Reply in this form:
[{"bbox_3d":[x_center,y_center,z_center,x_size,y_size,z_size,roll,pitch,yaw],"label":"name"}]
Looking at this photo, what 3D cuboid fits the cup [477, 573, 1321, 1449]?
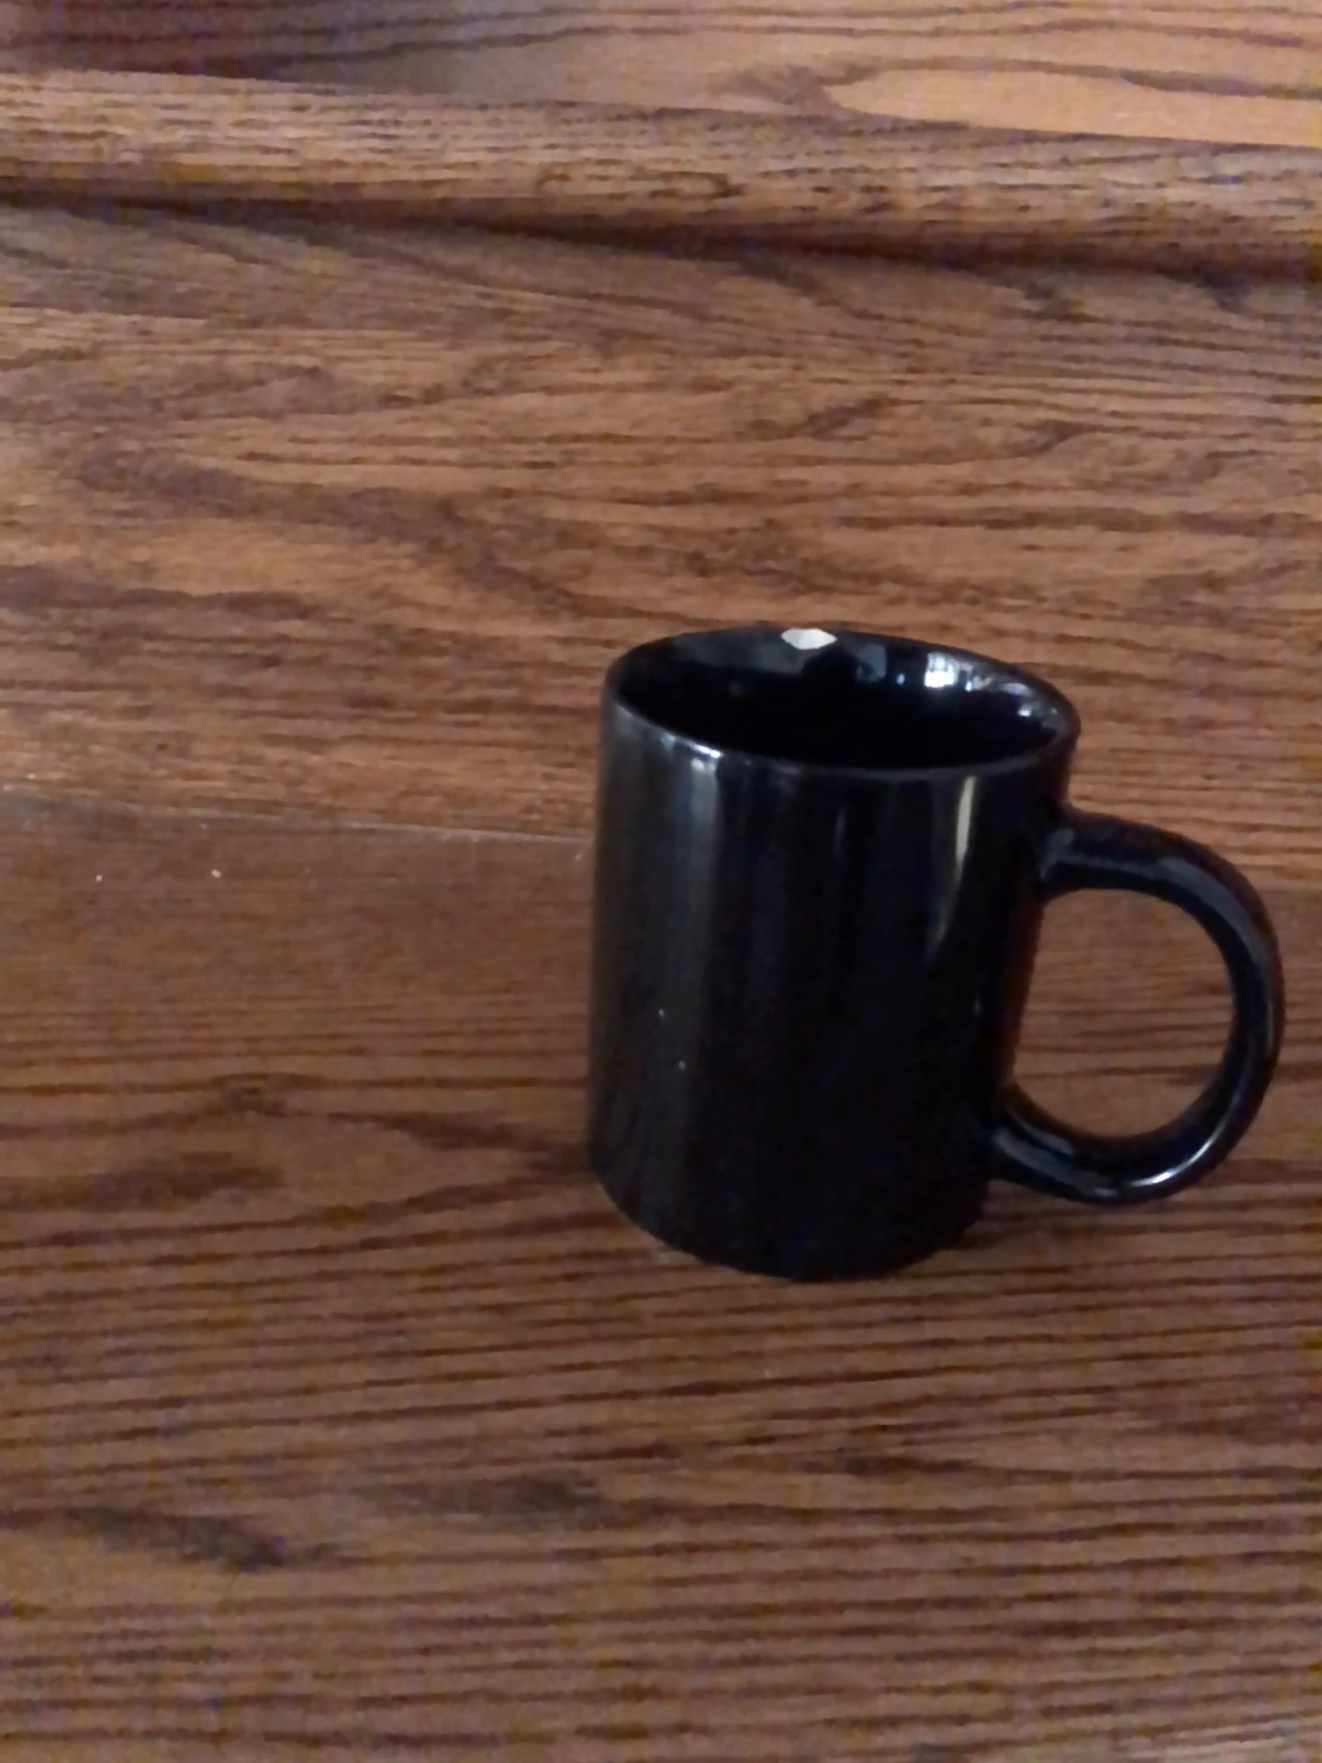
[{"bbox_3d":[0.049,0.012,0.262,0.136,0.095,0.092,12,27,16],"label":"cup"}]
